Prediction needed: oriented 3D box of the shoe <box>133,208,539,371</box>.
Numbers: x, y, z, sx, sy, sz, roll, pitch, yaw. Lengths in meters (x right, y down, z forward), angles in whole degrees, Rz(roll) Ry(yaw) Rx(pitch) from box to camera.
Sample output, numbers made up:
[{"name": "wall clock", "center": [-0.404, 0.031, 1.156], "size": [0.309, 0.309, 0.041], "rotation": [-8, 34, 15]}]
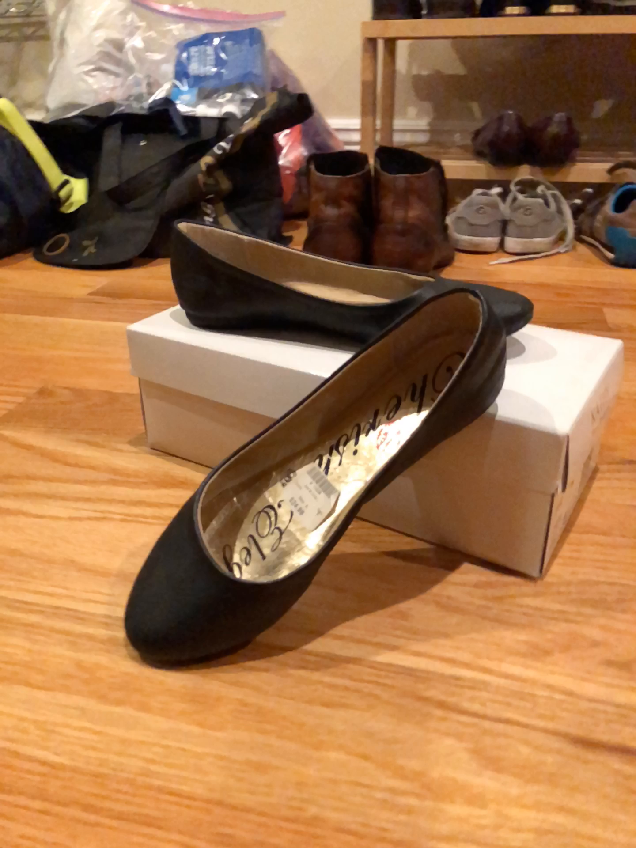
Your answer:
[{"name": "shoe", "center": [0.008, -0.093, 0.444], "size": [0.239, 0.060, 0.076], "rotation": [10, 29, 20]}]

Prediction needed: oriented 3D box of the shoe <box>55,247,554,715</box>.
[{"name": "shoe", "center": [-0.007, 0.028, 0.341], "size": [0.239, 0.060, 0.076], "rotation": [-41, 52, 1]}]
